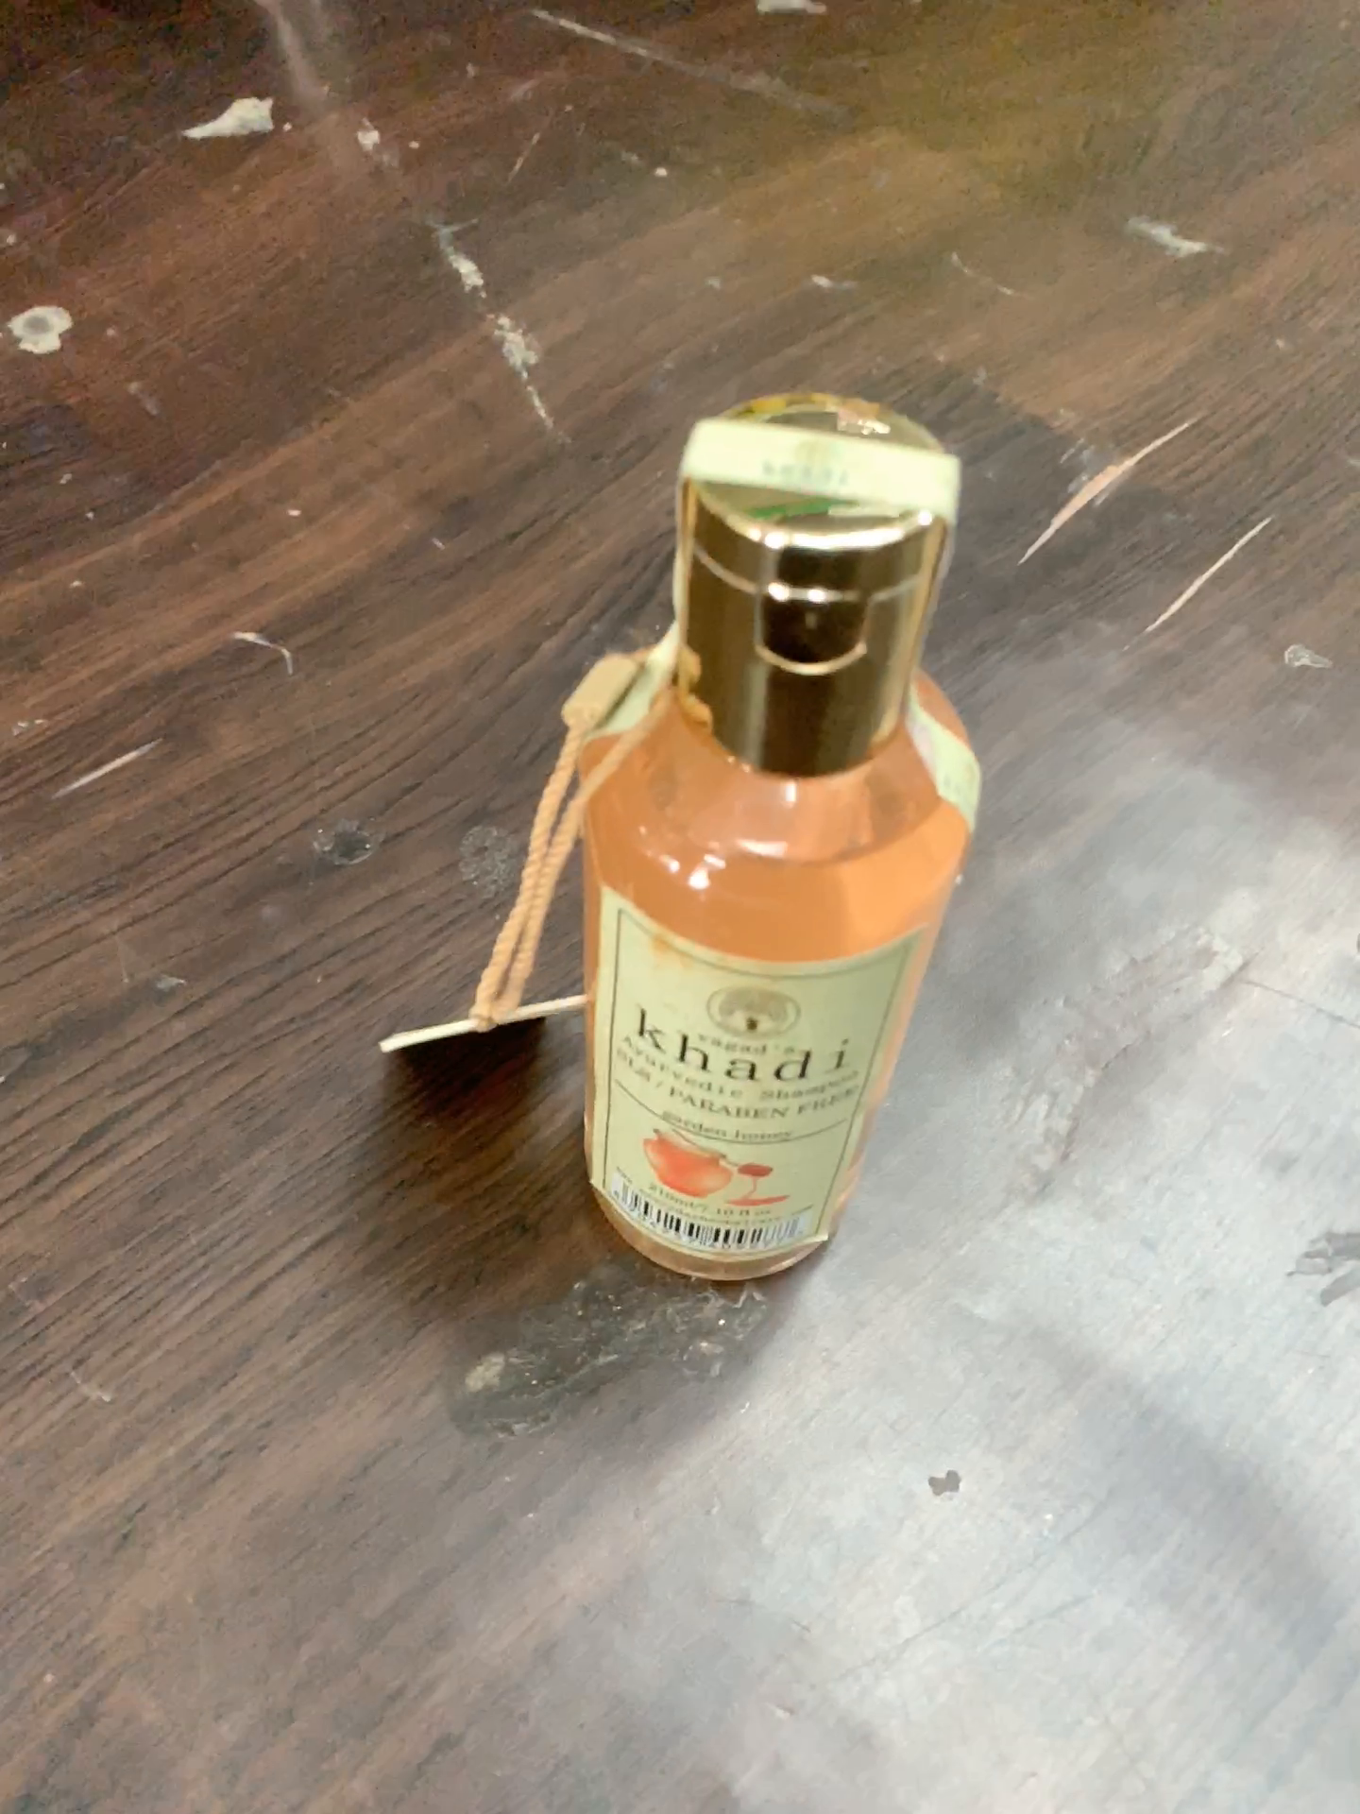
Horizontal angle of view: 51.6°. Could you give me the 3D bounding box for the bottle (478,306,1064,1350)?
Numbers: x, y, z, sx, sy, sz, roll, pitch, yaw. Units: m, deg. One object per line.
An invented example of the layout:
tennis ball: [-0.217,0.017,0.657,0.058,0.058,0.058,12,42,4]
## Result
bottle: [0.007,0.005,0.193,0.050,0.150,0.050,2,52,-3]
